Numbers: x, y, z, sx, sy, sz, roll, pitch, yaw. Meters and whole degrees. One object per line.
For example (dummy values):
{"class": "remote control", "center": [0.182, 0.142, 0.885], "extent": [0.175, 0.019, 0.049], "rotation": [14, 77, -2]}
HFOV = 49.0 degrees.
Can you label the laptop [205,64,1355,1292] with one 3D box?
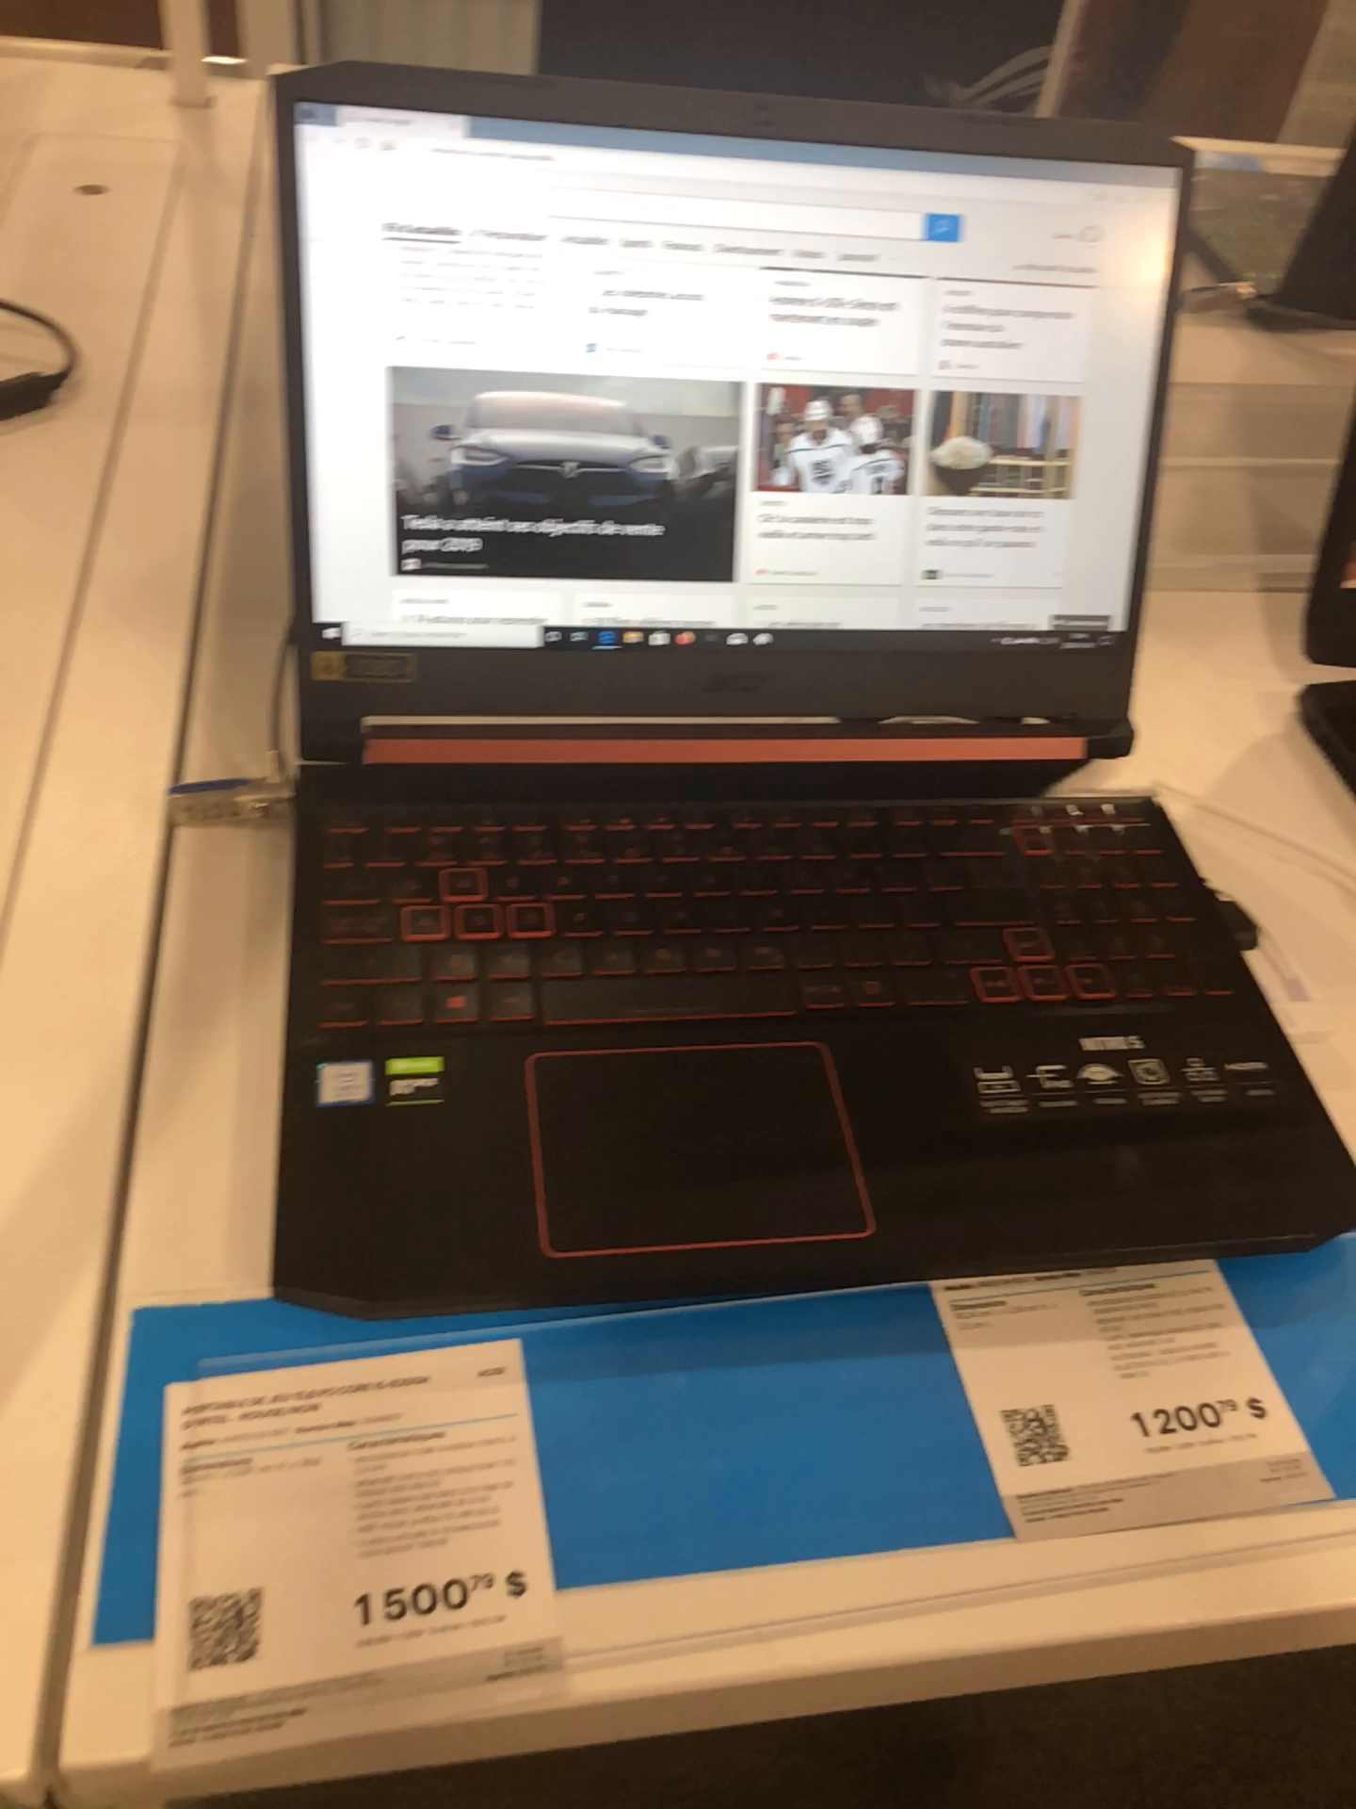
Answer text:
{"class": "laptop", "center": [0.047, -0.097, 0.513], "extent": [0.357, 0.211, 0.360], "rotation": [-1, 47, -11]}
